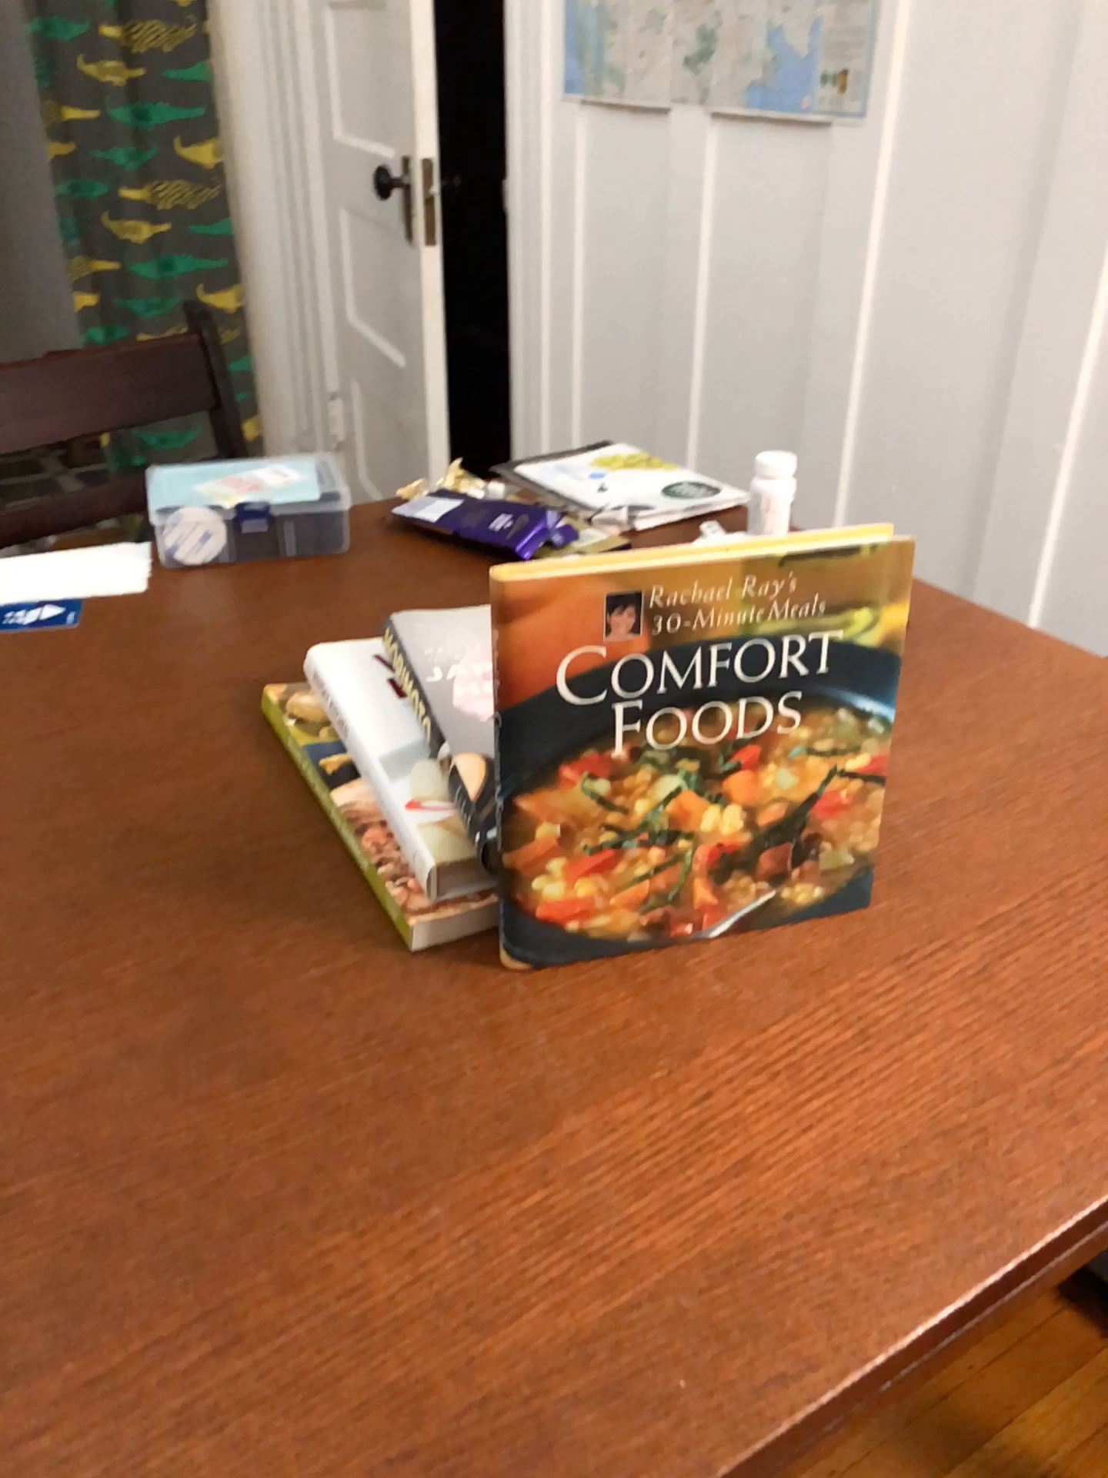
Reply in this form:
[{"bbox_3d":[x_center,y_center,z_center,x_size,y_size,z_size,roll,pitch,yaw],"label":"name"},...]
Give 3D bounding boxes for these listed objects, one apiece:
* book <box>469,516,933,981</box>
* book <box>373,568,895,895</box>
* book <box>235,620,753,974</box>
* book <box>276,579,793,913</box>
[{"bbox_3d":[0.067,0.006,0.588,0.210,0.209,0.030,-7,28,-15],"label":"book"},{"bbox_3d":[0.030,-0.023,0.730,0.220,0.030,0.281,-9,32,-17],"label":"book"},{"bbox_3d":[-0.051,0.015,0.749,0.220,0.030,0.281,-13,34,-23],"label":"book"},{"bbox_3d":[-0.027,-0.015,0.746,0.220,0.030,0.281,-12,33,-21],"label":"book"}]
